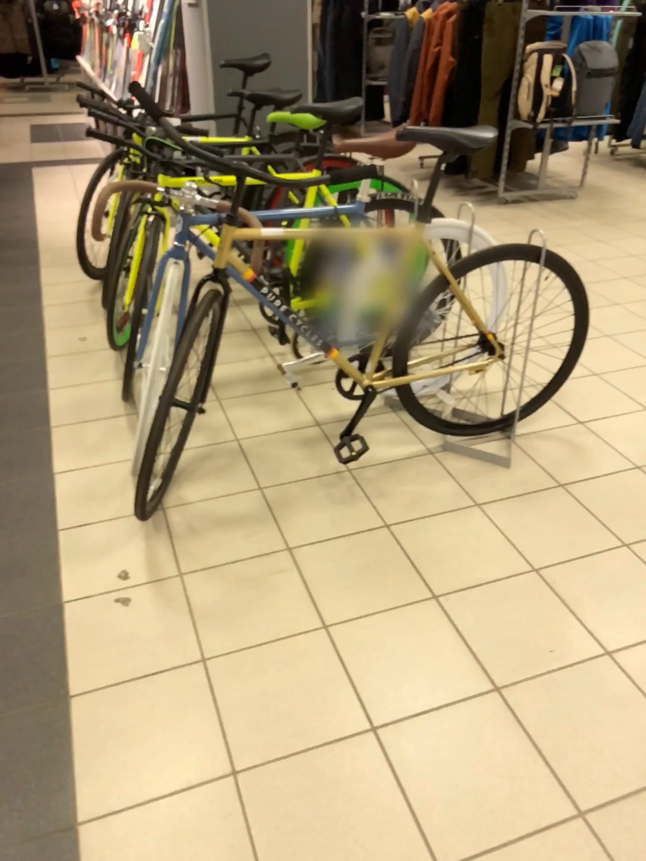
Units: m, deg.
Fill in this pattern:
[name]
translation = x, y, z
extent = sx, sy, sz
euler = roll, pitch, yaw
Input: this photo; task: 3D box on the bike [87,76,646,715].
[bike]
translation = 0.175, -0.219, 1.994
extent = 1.465, 1.091, 0.675
euler = -20, 36, -22
